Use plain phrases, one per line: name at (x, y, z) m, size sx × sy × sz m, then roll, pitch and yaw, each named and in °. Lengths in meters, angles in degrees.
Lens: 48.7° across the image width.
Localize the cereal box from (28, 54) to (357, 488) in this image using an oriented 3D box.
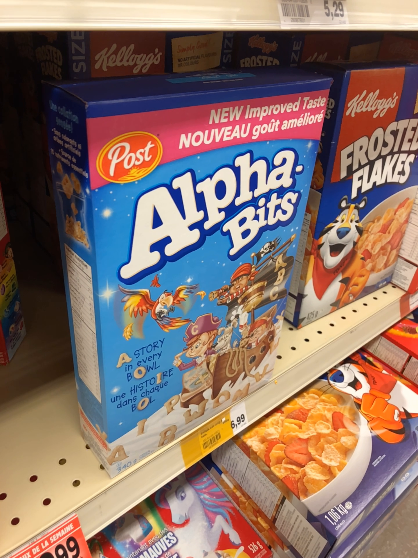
cereal box at (-0.011, -0.002, 0.357) m, size 0.201 × 0.298 × 0.060 m, roll -21°, pitch 43°, yaw -35°
